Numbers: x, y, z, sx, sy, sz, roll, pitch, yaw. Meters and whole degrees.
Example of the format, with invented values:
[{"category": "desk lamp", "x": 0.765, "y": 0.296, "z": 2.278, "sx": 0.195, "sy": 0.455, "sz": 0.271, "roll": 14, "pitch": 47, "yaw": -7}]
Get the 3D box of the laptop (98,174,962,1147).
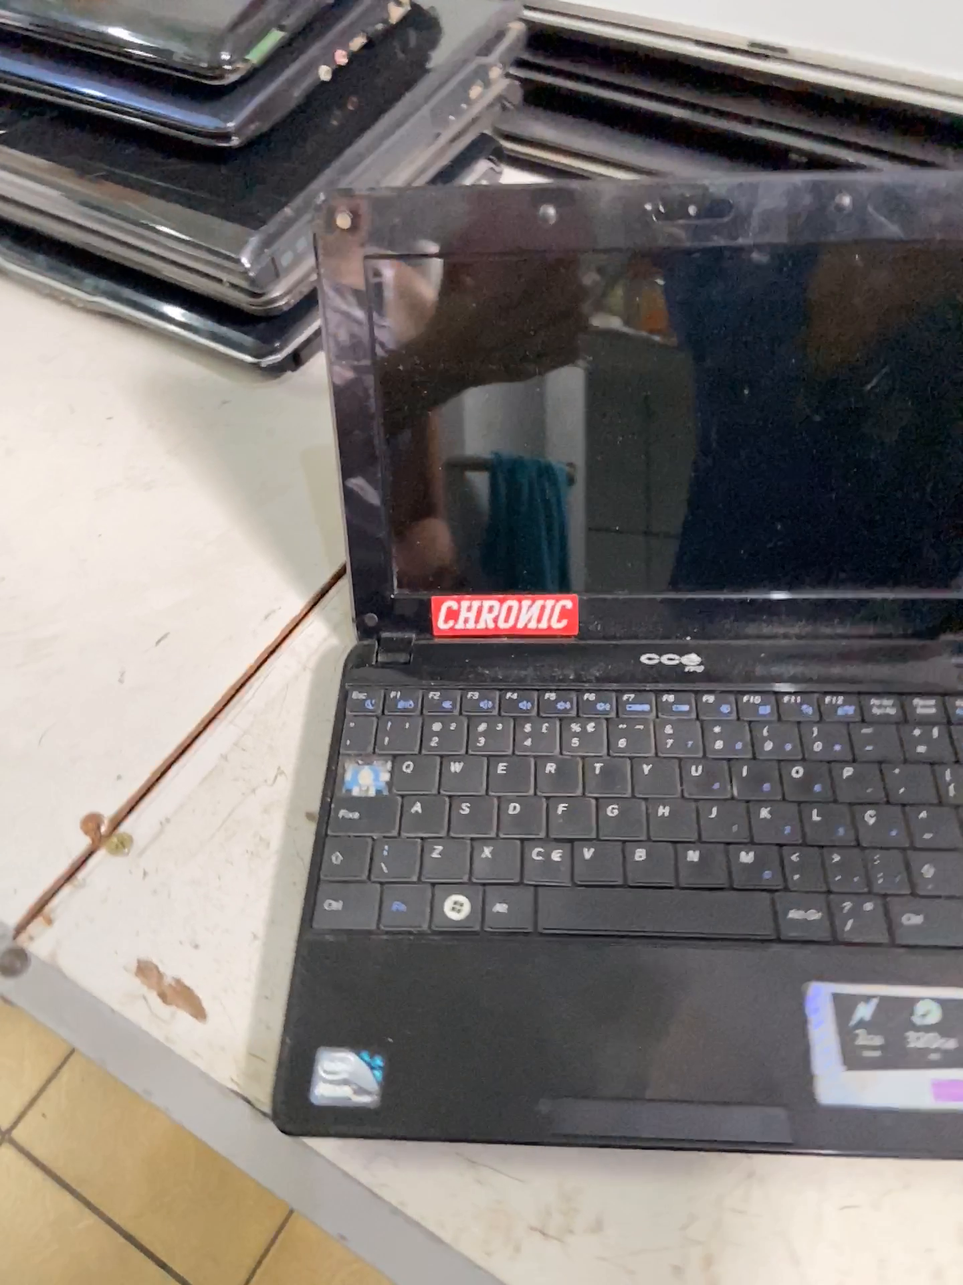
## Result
[{"category": "laptop", "x": 0.067, "y": -0.005, "z": 0.306, "sx": 0.253, "sy": 0.137, "sz": 0.259, "roll": 0, "pitch": 53, "yaw": 5}]
